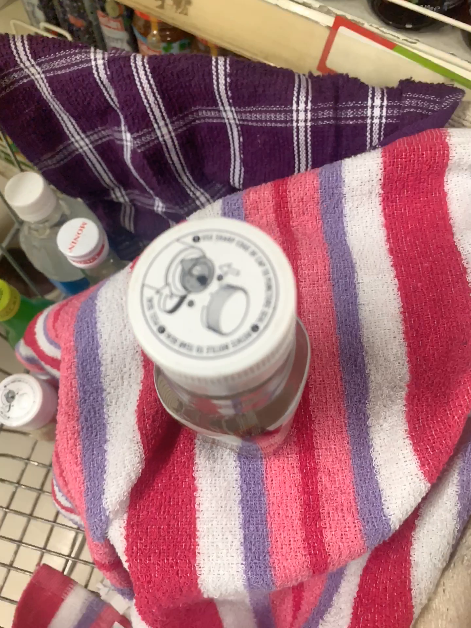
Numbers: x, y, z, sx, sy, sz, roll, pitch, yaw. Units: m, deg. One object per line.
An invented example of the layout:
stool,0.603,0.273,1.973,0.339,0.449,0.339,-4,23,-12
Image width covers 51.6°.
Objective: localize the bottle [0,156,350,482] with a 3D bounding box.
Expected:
bottle,-0.008,0.019,0.165,0.060,0.140,0.050,17,72,11
